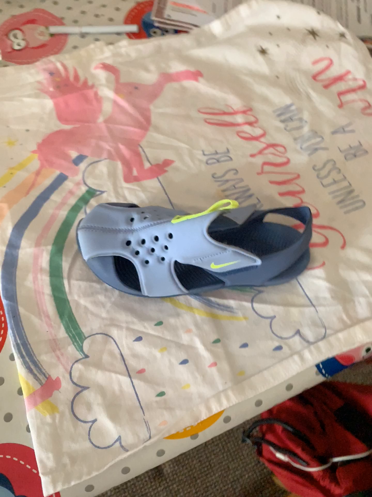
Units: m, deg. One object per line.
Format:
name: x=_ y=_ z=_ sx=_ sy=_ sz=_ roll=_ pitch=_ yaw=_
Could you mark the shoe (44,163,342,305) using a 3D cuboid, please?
shoe: x=0.006 y=-0.008 z=0.336 sx=0.216 sy=0.090 sz=0.087 roll=2 pitch=67 yaw=0
